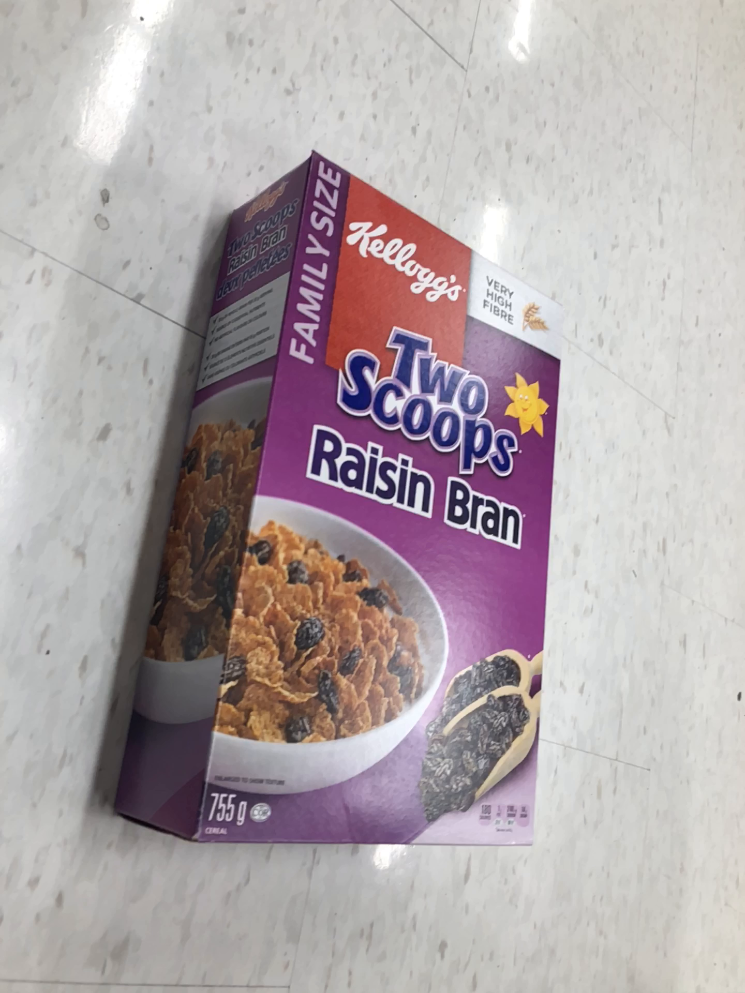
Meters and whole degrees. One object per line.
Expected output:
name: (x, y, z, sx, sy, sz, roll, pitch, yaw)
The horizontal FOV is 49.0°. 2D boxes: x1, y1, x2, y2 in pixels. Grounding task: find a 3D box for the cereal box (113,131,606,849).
cereal box: (0.017, 0.013, 0.421, 0.221, 0.080, 0.300, 19, 69, -36)
